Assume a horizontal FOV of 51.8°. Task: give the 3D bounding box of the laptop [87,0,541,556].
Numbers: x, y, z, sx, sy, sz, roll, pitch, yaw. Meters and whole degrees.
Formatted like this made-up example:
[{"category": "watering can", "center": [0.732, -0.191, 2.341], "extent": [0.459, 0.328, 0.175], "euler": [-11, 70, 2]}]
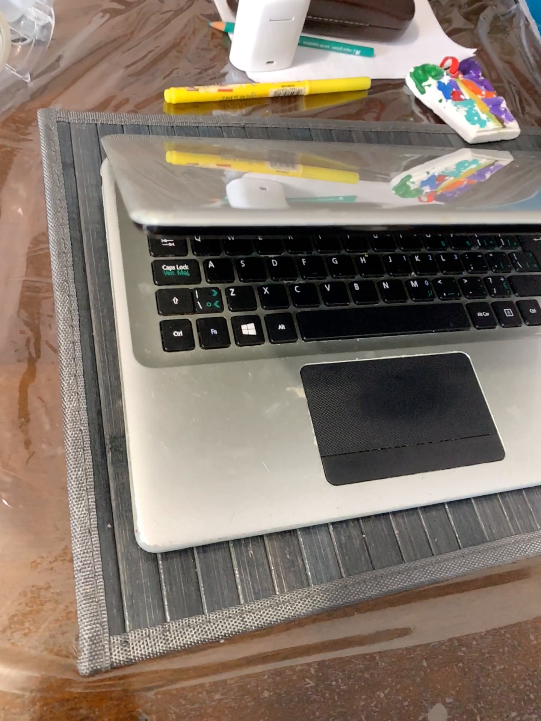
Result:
[{"category": "laptop", "center": [0.100, -0.066, 0.278], "extent": [0.344, 0.145, 0.236], "euler": [-4, 64, -17]}]
